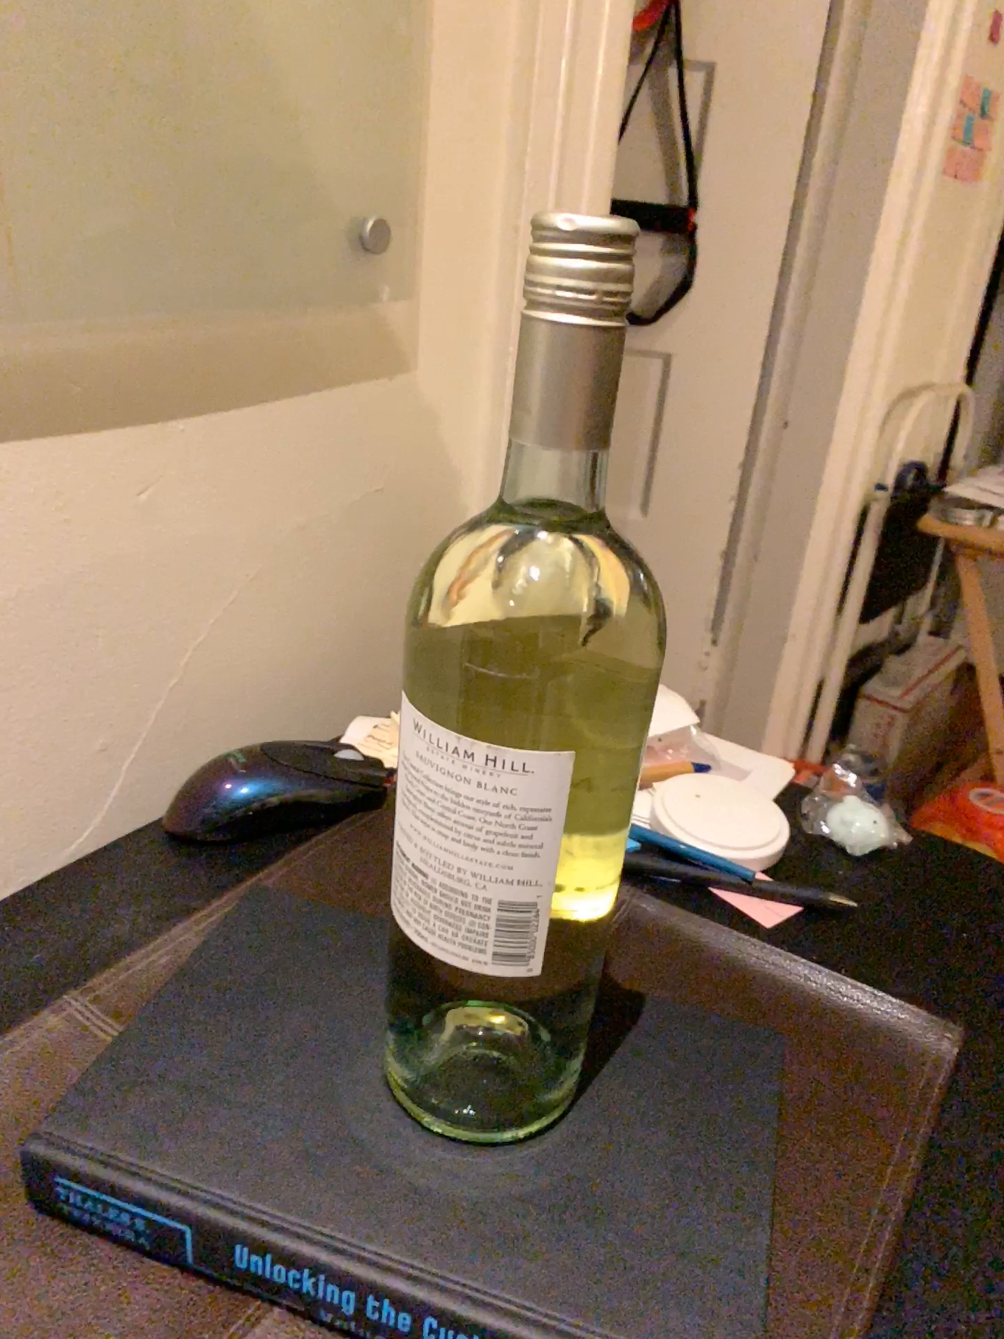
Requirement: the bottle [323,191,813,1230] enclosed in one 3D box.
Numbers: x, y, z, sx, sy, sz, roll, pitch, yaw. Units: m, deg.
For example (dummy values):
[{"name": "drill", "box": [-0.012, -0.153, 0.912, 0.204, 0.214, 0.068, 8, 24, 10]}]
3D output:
[{"name": "bottle", "box": [0.010, 0.018, 0.327, 0.090, 0.298, 0.090, 5, 25, -2]}]
